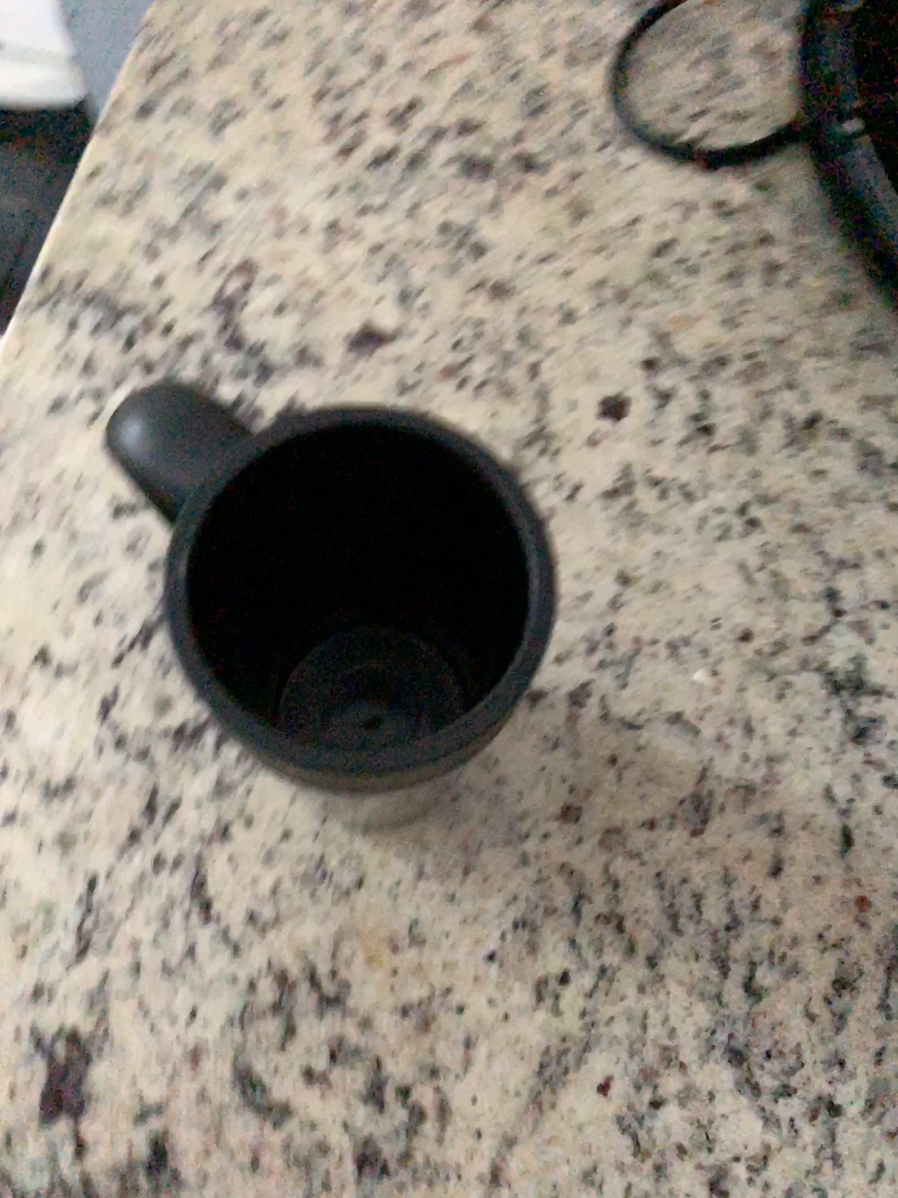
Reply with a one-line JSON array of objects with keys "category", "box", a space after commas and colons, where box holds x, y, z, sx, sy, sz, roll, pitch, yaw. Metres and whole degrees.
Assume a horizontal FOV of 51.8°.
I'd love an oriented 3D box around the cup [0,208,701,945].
[{"category": "cup", "box": [-0.030, 0.010, 0.233, 0.120, 0.140, 0.080, 43, 73, 10]}]
